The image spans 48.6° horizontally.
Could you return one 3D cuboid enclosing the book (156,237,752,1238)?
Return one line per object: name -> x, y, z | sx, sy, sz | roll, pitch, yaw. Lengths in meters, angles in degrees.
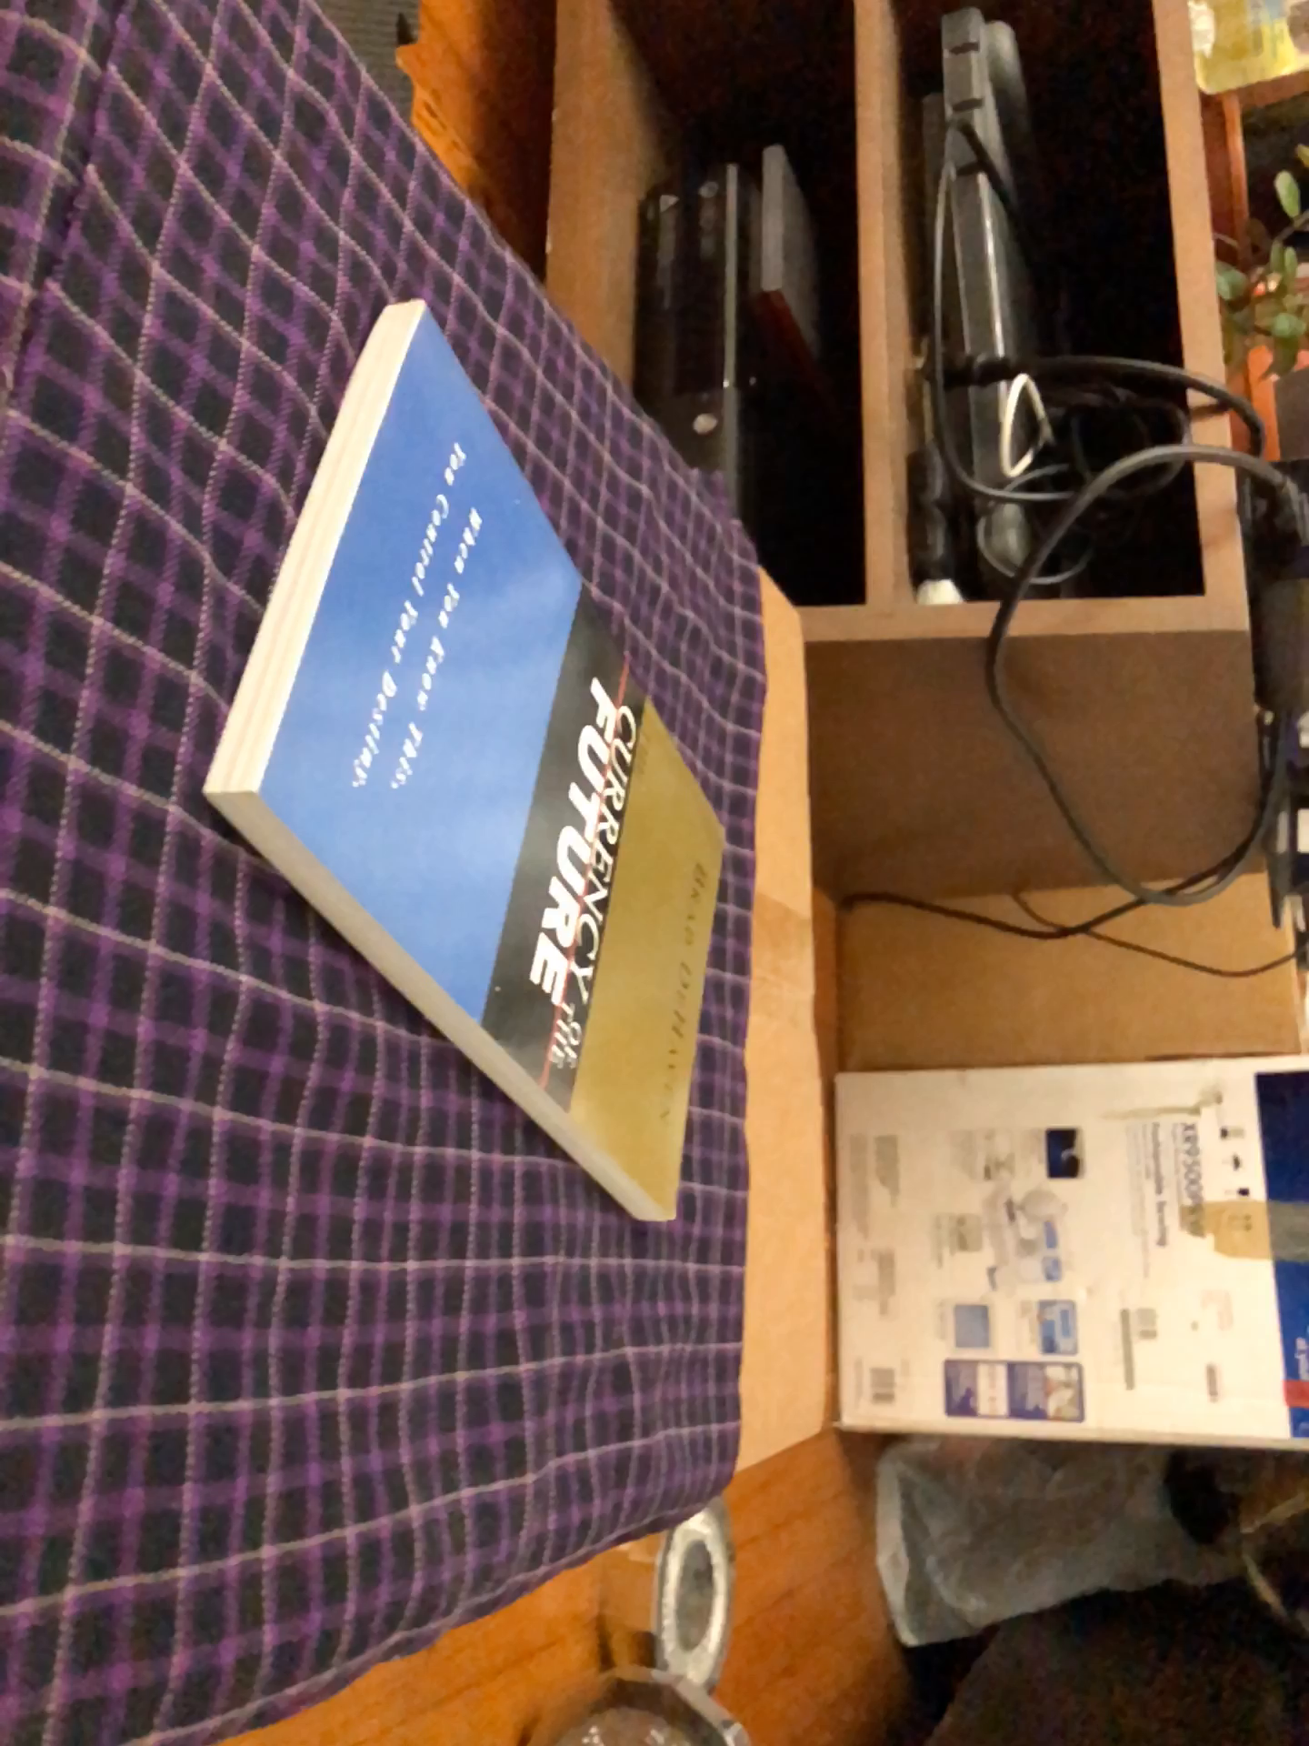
book -> -0.026, -0.018, 0.369 | 0.220, 0.020, 0.150 | 56, 35, -50
